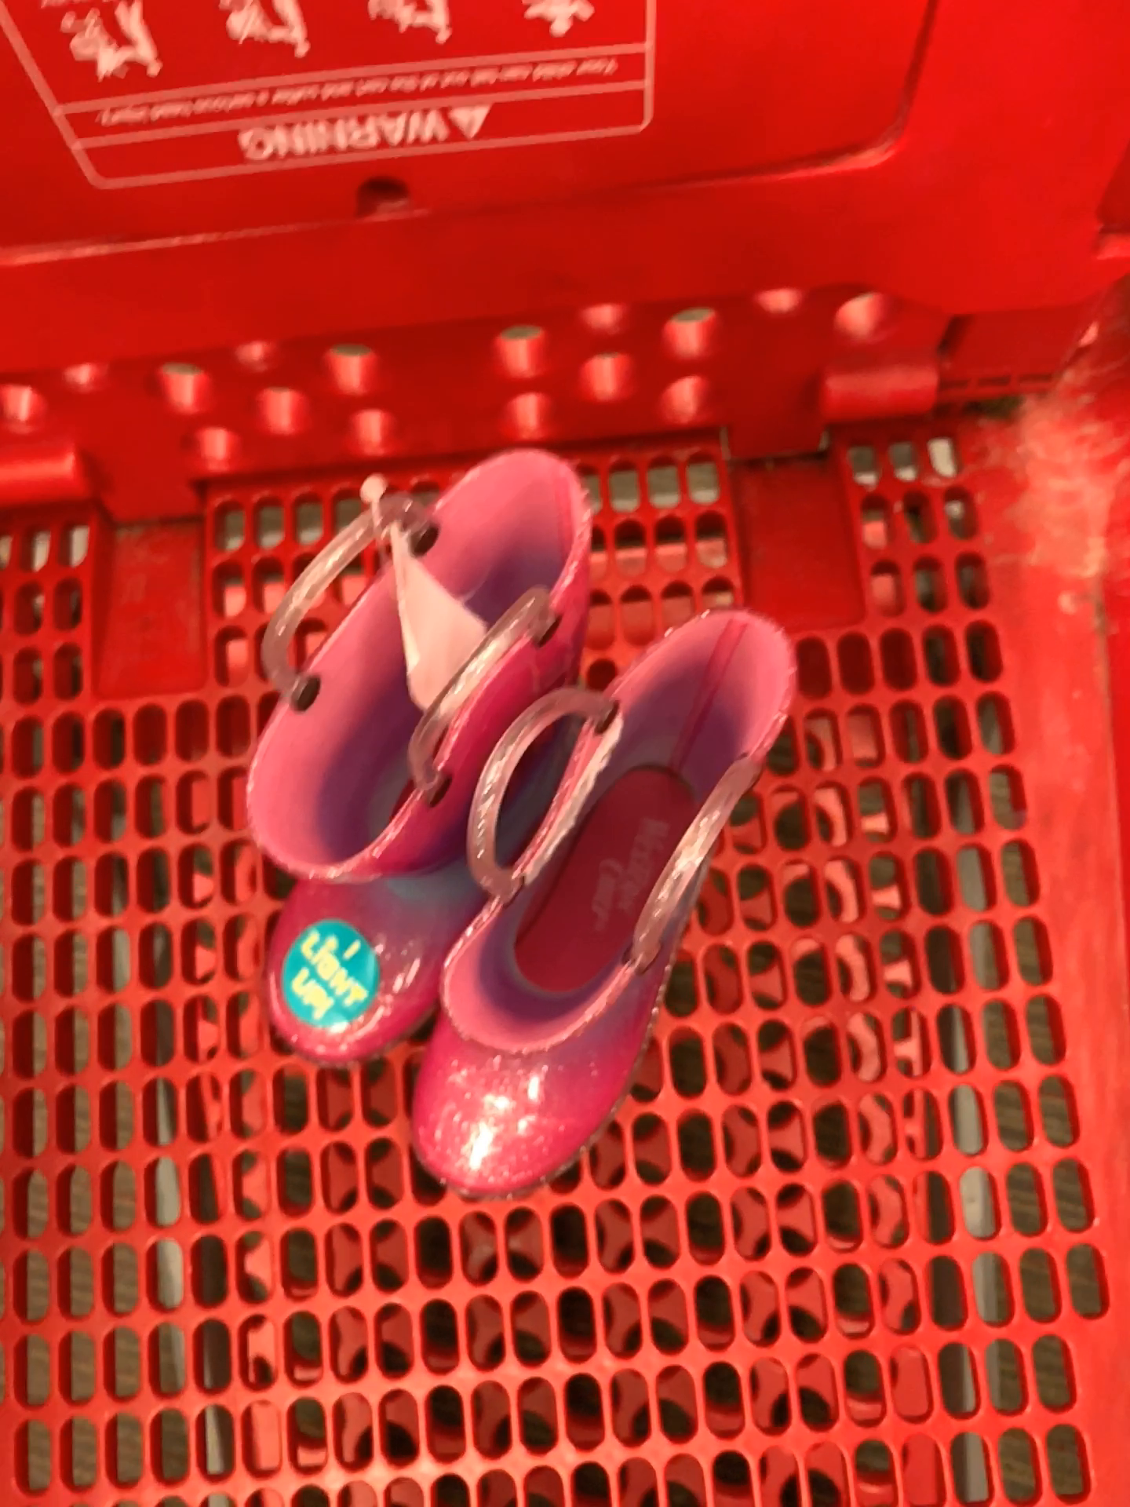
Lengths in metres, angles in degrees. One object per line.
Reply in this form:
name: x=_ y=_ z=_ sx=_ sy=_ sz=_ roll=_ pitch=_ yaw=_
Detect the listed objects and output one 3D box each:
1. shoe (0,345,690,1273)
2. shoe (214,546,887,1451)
shoe: x=-0.051 y=0.016 z=0.332 sx=0.070 sy=0.140 sz=0.200 roll=31 pitch=85 yaw=5
shoe: x=0.001 y=0.059 z=0.335 sx=0.070 sy=0.140 sz=0.190 roll=28 pitch=85 yaw=5
